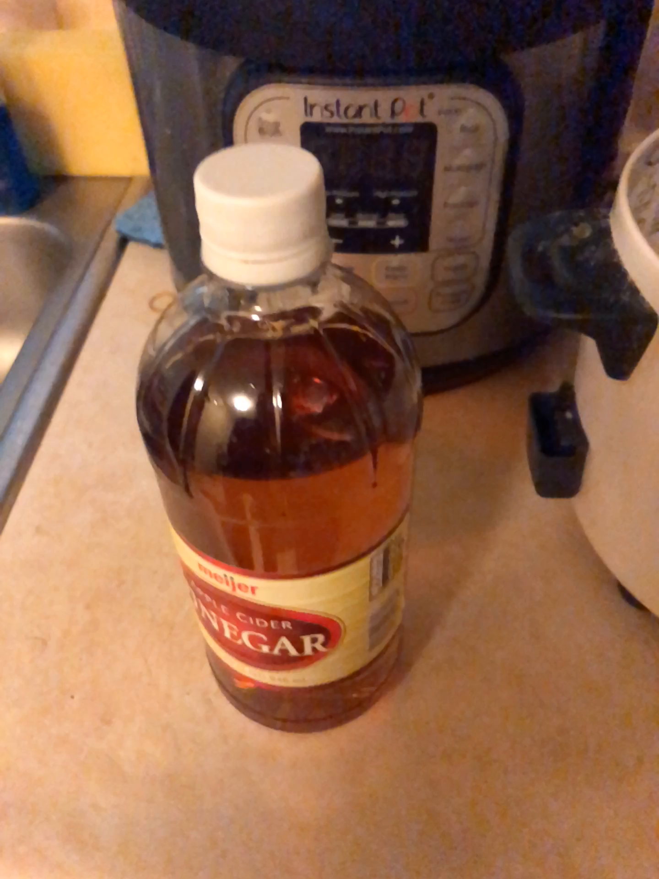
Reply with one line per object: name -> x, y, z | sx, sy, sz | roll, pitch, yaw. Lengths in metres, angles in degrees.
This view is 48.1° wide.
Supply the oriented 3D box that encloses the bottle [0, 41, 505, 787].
bottle -> -0.015, 0.012, 0.242 | 0.090, 0.229, 0.080 | 21, 50, 21
